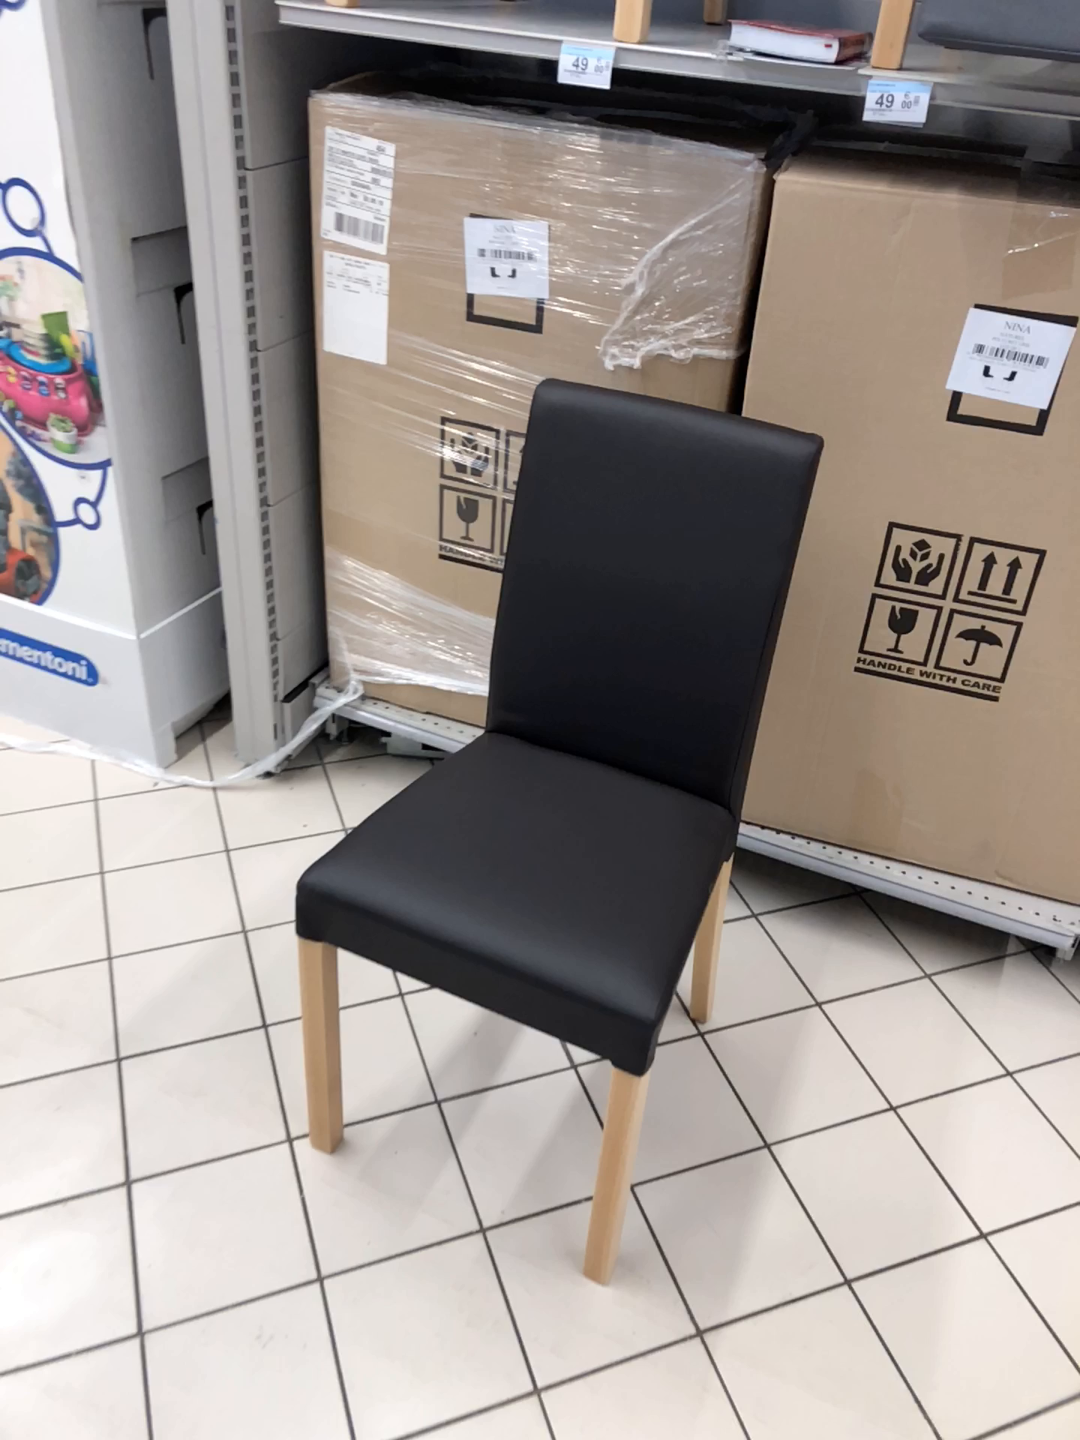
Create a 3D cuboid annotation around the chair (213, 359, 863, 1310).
[{"bbox_3d":[0.015,0.112,1.415,0.450,0.855,0.594,17,35,17],"label":"chair"}]
